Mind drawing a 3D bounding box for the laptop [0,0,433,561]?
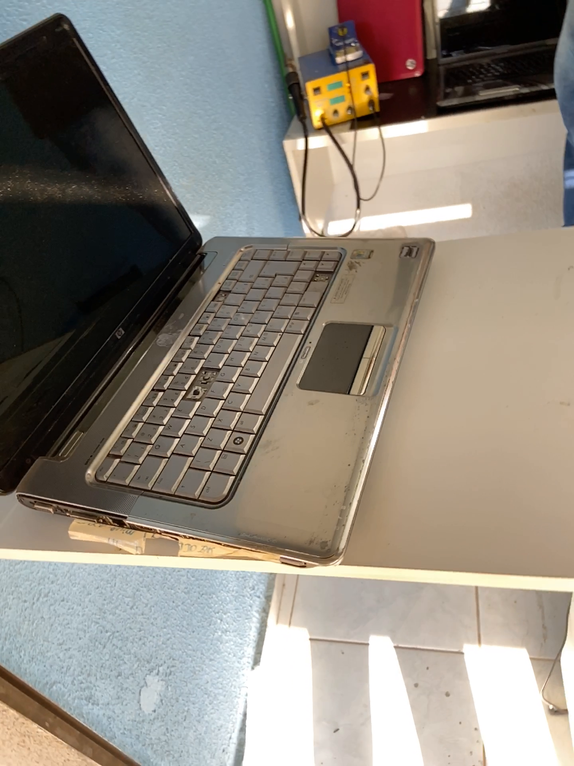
[{"bbox_3d":[-0.096,-0.115,0.447,0.328,0.233,0.353,5,46,23],"label":"laptop"}]
